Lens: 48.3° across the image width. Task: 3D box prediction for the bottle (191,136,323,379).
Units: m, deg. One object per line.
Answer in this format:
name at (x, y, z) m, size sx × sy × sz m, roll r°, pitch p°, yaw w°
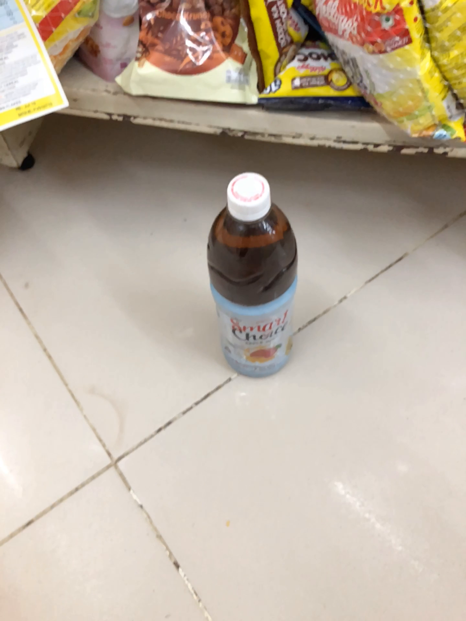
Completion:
bottle at (0.020, -0.025, 0.454) m, size 0.080 × 0.249 × 0.080 m, roll -1°, pitch 62°, yaw 3°
